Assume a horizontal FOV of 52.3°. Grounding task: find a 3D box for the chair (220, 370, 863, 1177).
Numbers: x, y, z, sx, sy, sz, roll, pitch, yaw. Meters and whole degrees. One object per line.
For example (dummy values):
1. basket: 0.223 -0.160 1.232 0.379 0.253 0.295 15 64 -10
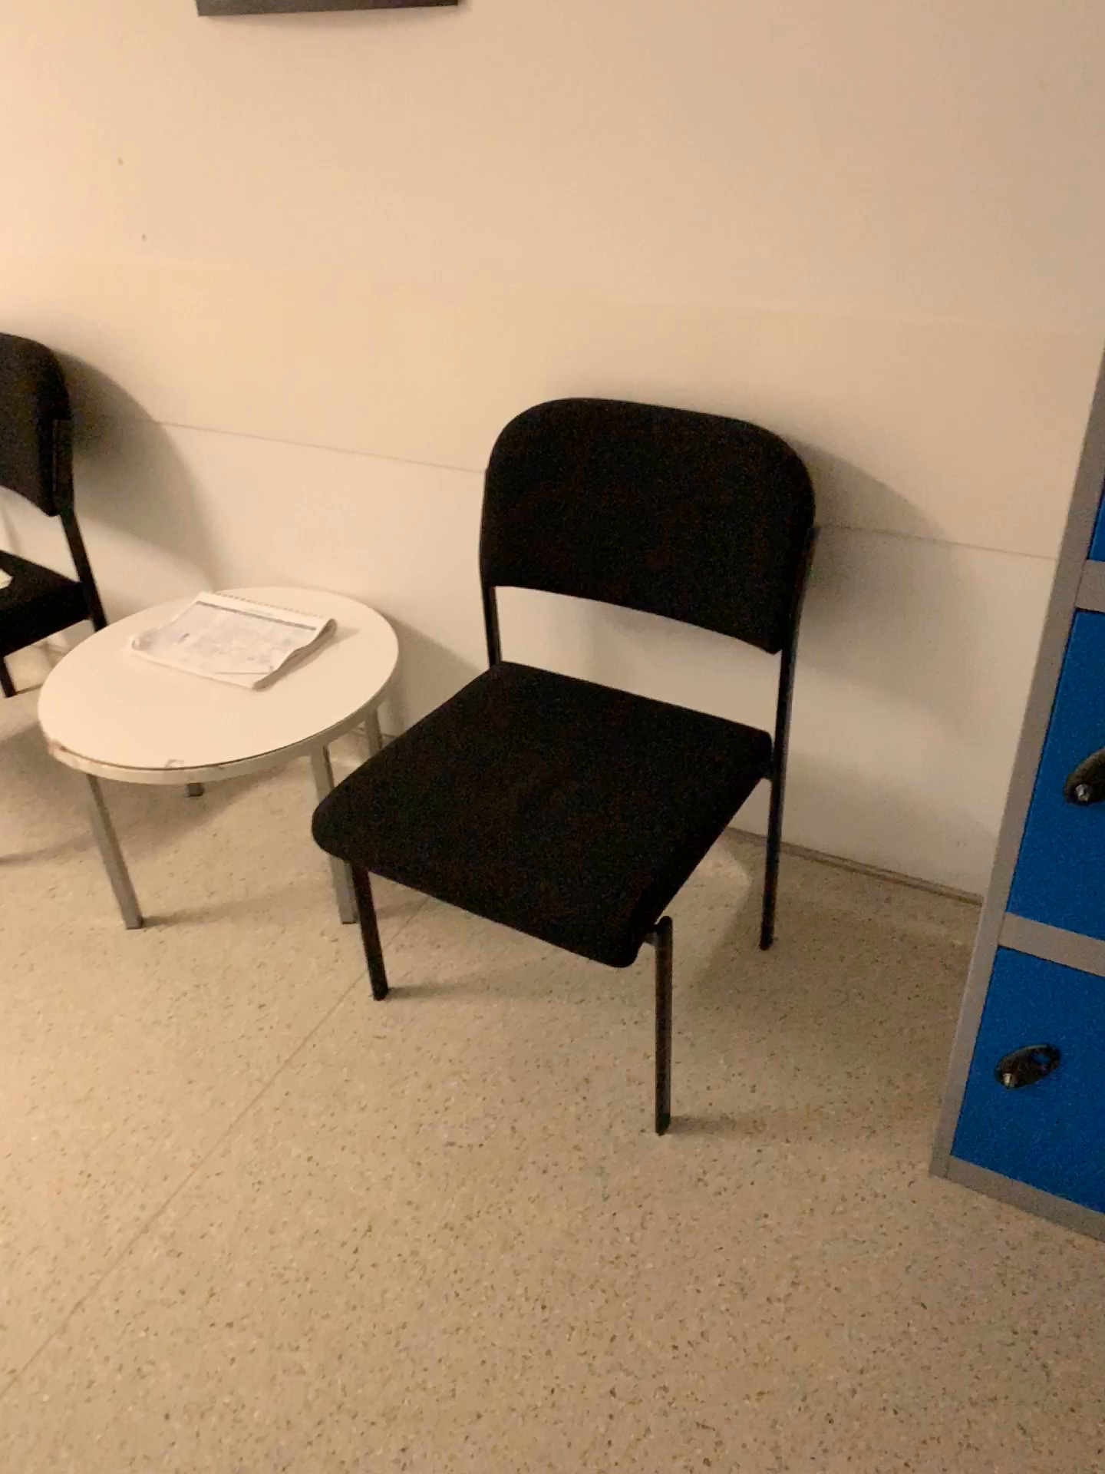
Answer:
1. chair: 0.022 0.015 1.554 0.551 0.824 0.553 18 38 28
